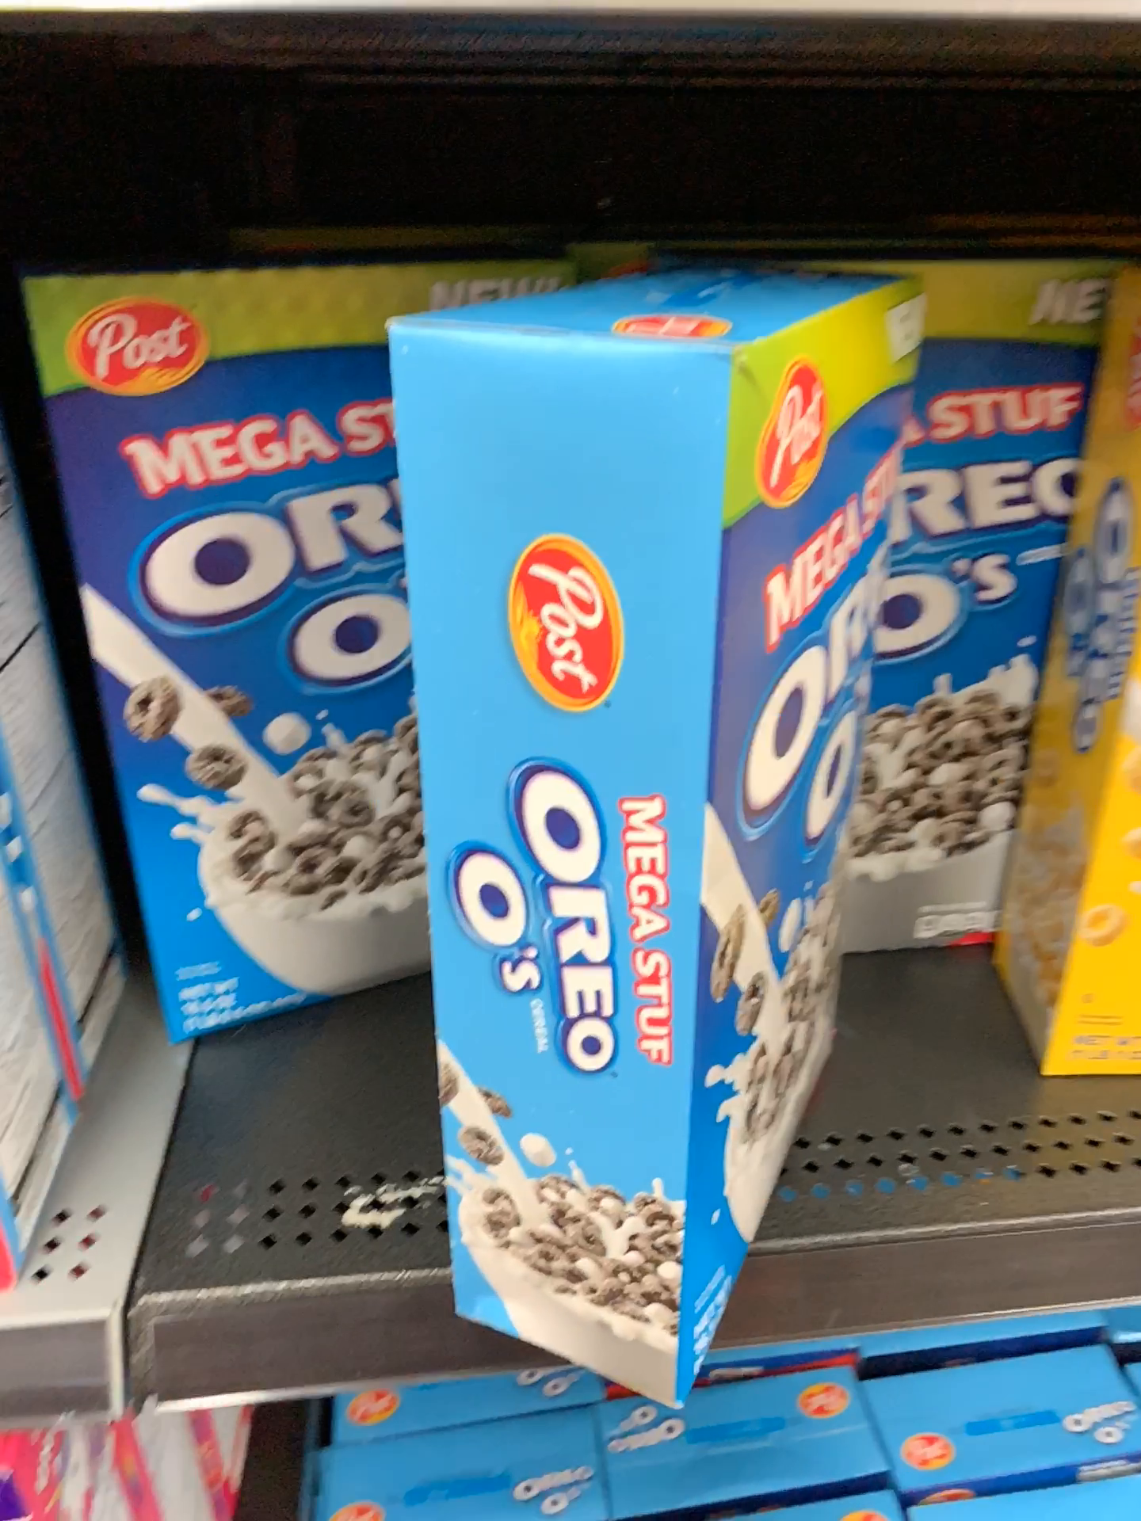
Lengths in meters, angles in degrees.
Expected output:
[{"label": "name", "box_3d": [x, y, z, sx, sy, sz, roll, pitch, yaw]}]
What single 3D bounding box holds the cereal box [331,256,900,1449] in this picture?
[{"label": "cereal box", "box_3d": [0.029, 0.018, 0.395, 0.080, 0.328, 0.211, 12, 29, 22]}]
